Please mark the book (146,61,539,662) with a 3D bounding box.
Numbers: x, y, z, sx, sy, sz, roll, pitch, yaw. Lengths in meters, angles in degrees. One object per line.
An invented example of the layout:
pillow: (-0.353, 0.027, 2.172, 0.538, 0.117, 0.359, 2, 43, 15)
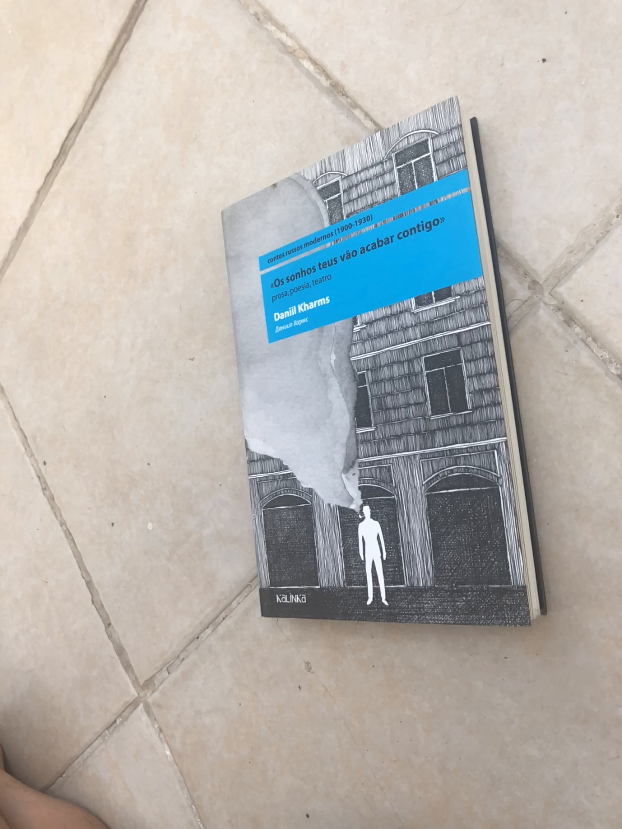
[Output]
book: (0.002, -0.009, 0.243, 0.120, 0.040, 0.170, -11, 81, 38)
